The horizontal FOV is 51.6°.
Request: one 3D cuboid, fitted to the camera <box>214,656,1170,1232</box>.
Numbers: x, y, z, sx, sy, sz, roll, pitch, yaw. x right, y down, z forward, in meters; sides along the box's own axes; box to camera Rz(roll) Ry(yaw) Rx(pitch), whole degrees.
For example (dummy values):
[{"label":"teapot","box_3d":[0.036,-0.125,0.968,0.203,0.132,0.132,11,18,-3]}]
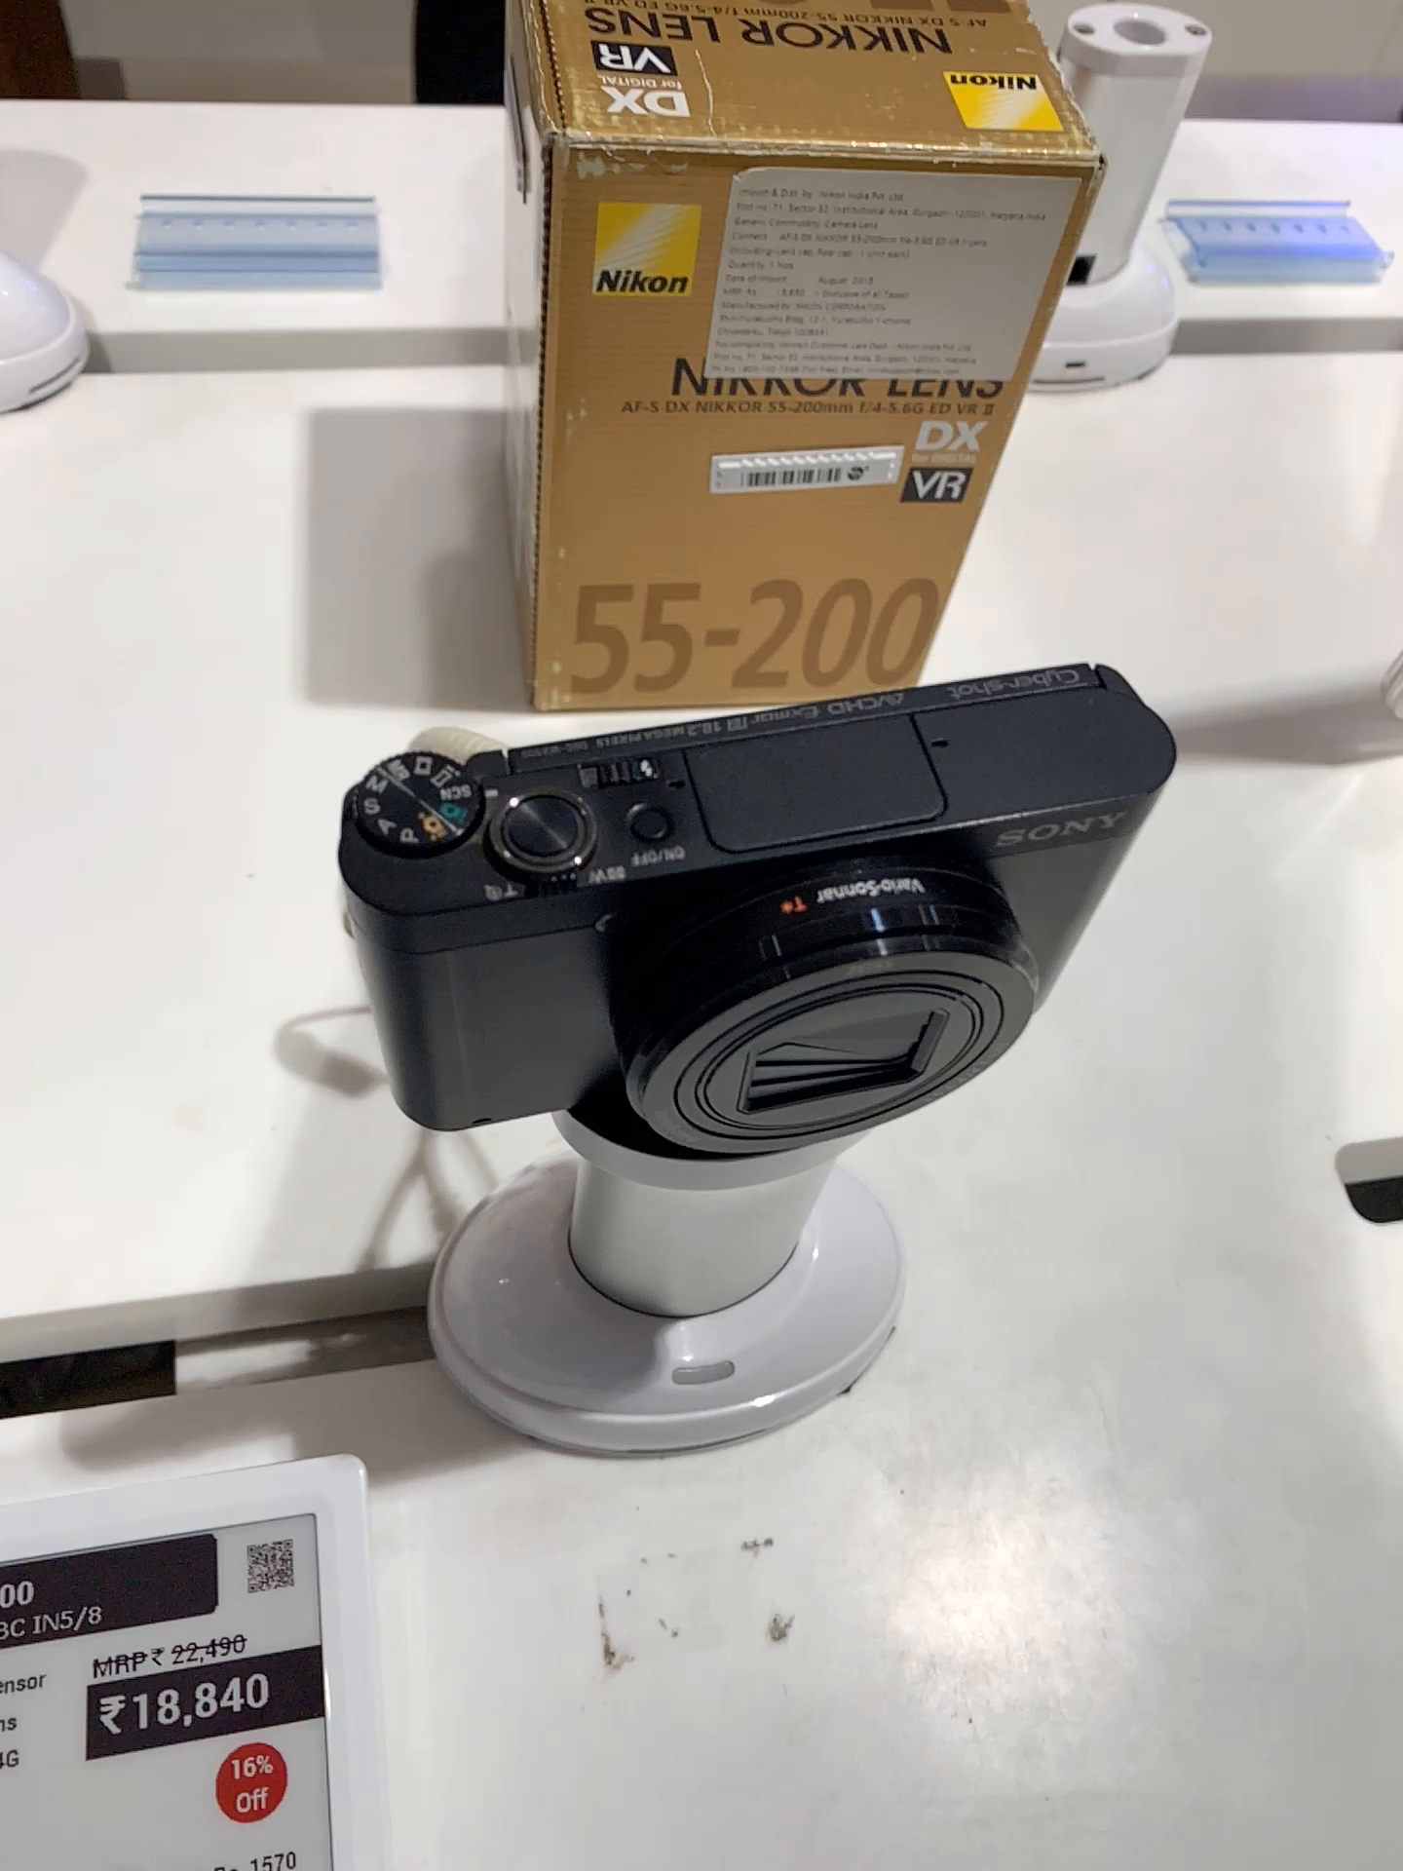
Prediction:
[{"label":"camera","box_3d":[-0.003,0.002,0.183,0.100,0.060,0.030,-9,59,-13]}]
